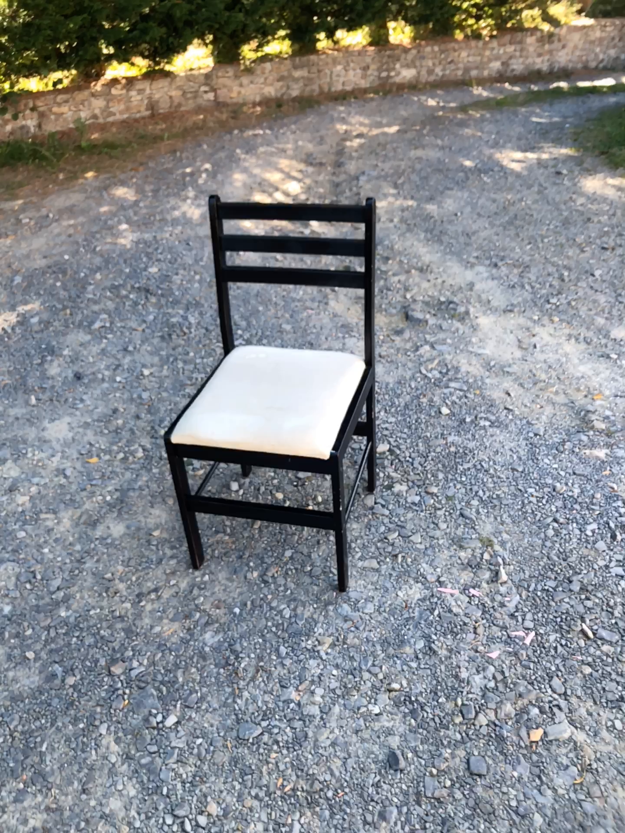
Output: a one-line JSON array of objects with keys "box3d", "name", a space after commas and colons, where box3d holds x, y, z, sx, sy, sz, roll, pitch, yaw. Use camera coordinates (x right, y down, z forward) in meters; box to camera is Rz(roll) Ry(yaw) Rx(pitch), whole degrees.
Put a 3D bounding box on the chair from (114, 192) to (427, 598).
[{"box3d": [-0.039, -0.066, 1.672, 0.540, 0.775, 0.533, 6, 35, 11], "name": "chair"}]
